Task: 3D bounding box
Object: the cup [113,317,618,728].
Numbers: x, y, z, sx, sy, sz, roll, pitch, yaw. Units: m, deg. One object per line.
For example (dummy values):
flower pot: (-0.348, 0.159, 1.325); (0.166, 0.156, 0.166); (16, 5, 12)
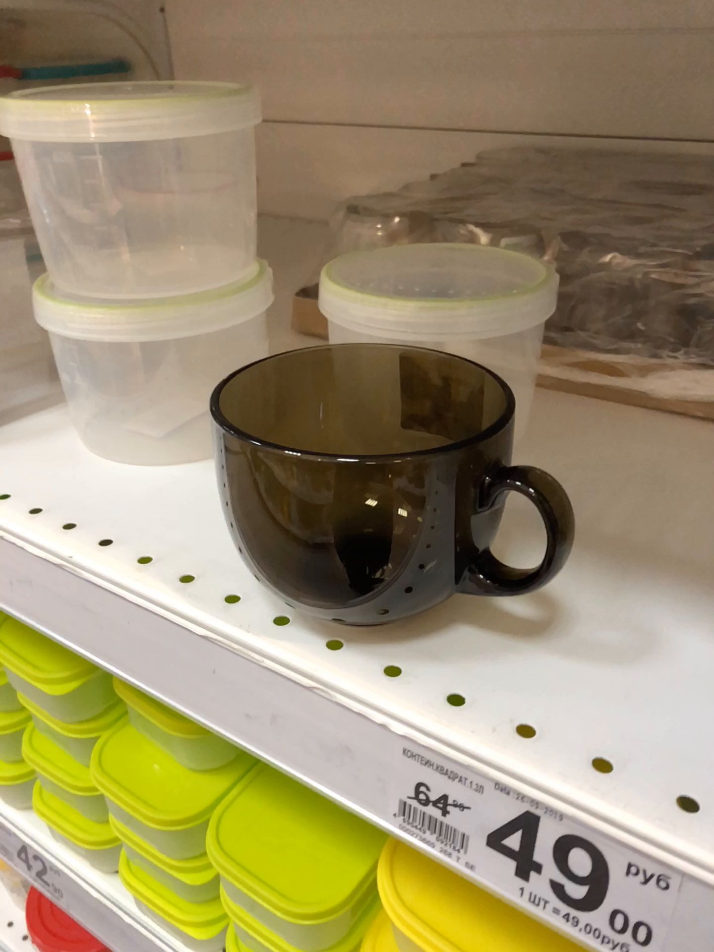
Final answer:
cup: (0.006, 0.003, 0.283); (0.135, 0.071, 0.105); (16, 35, 29)
